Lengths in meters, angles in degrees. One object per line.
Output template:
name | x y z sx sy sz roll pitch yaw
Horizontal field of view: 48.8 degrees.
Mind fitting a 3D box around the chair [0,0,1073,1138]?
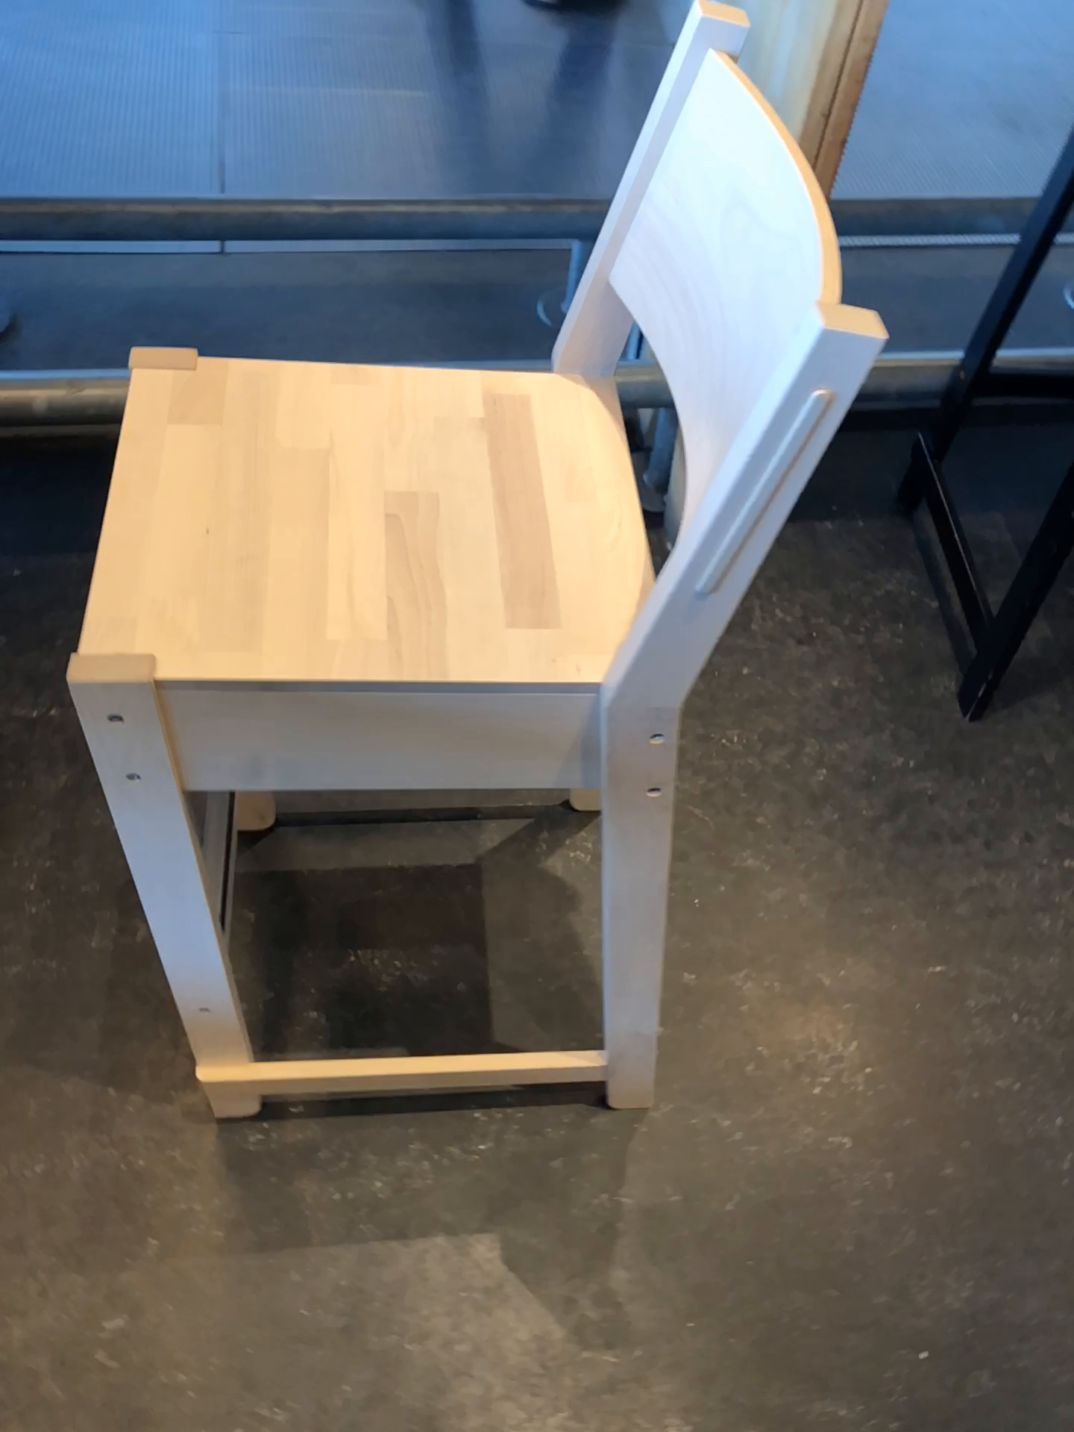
chair | -0.061 -0.047 1.004 0.540 0.978 0.461 0 53 -7
